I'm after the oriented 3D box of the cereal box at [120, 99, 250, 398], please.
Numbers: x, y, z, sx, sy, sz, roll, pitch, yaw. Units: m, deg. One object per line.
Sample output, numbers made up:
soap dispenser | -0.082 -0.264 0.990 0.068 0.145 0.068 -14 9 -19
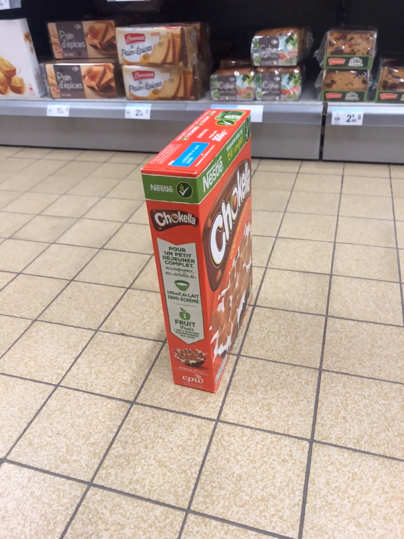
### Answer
cereal box | 0.001 -0.028 0.516 0.060 0.278 0.201 8 35 18
